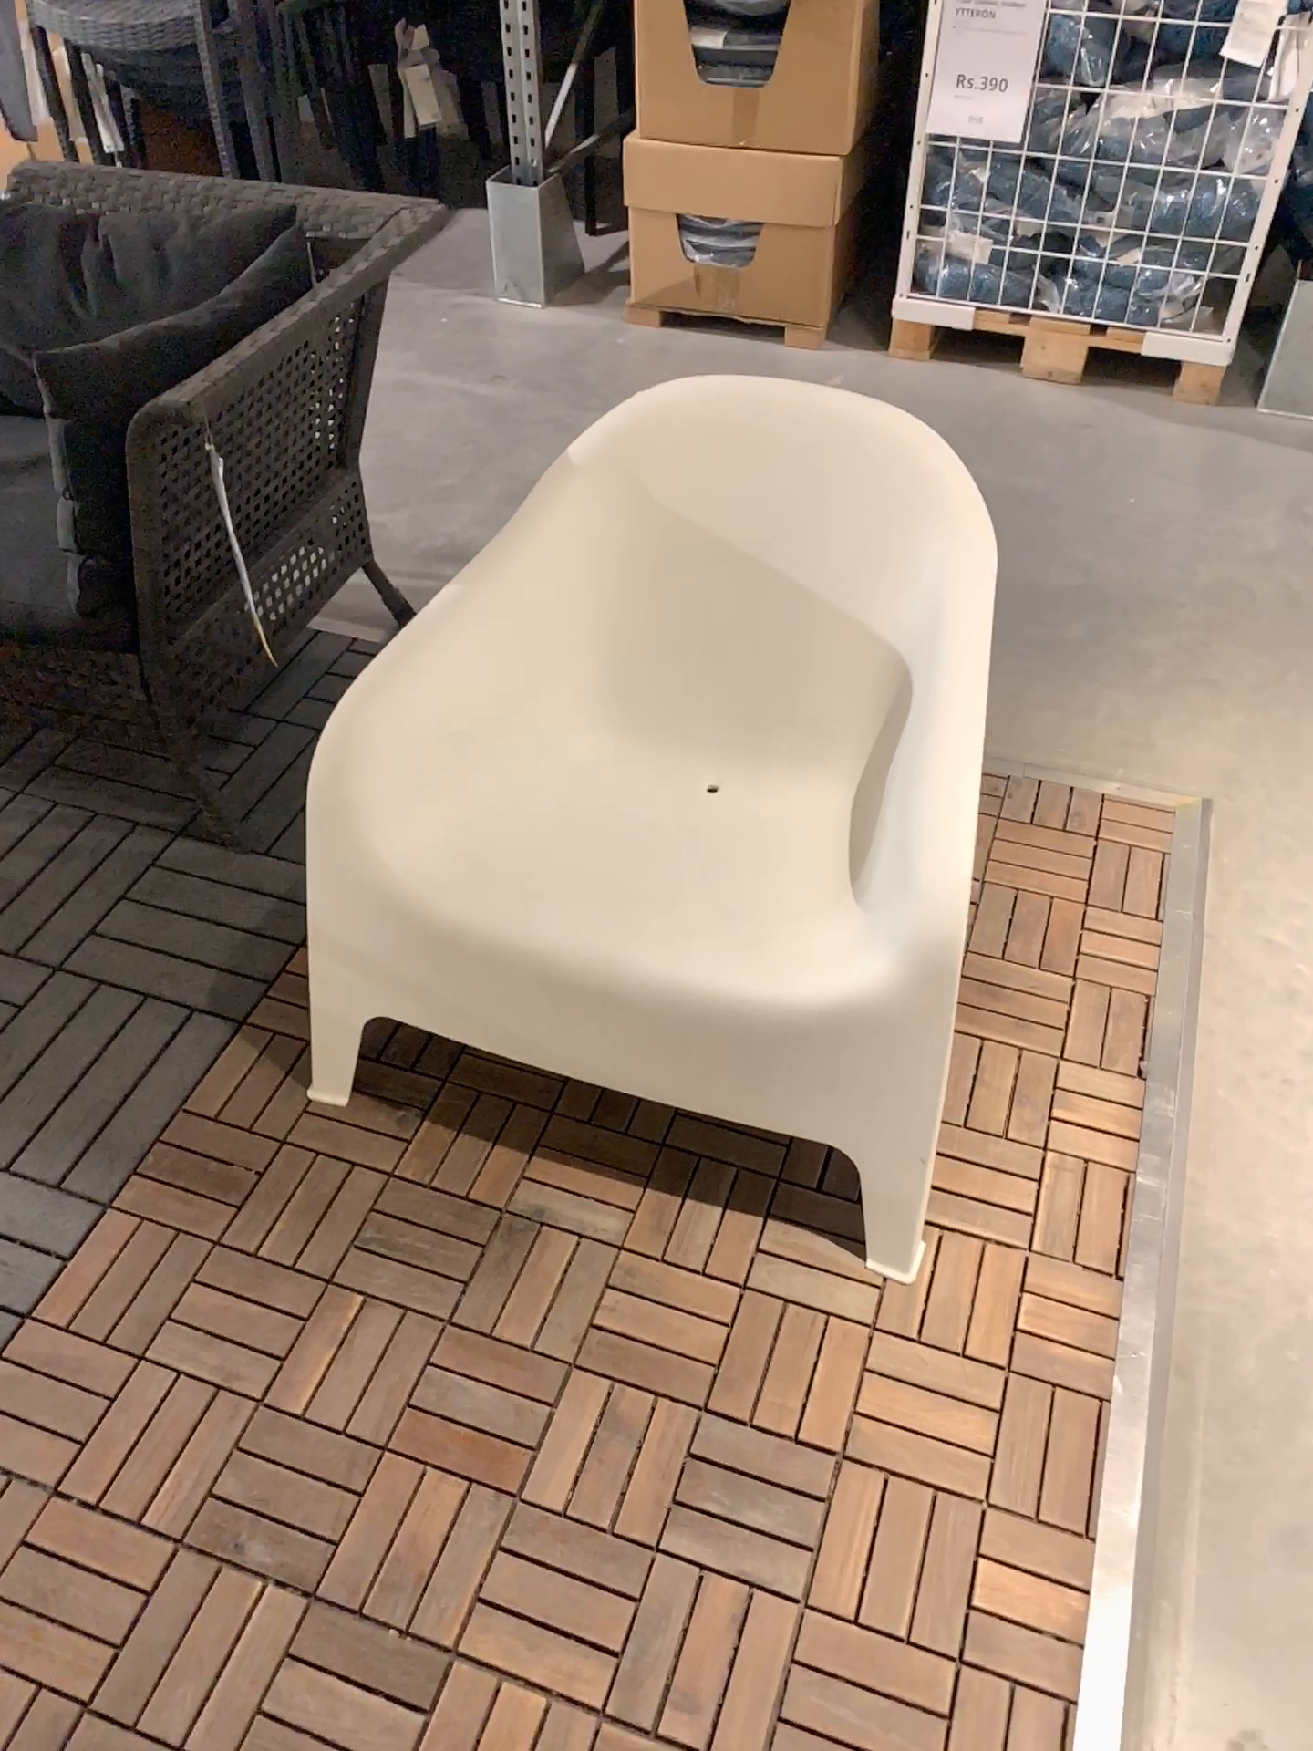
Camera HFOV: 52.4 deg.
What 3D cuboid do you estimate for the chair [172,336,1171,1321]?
[{"bbox_3d":[0.076,-0.104,1.533,0.770,0.637,0.763,14,46,15],"label":"chair"}]
